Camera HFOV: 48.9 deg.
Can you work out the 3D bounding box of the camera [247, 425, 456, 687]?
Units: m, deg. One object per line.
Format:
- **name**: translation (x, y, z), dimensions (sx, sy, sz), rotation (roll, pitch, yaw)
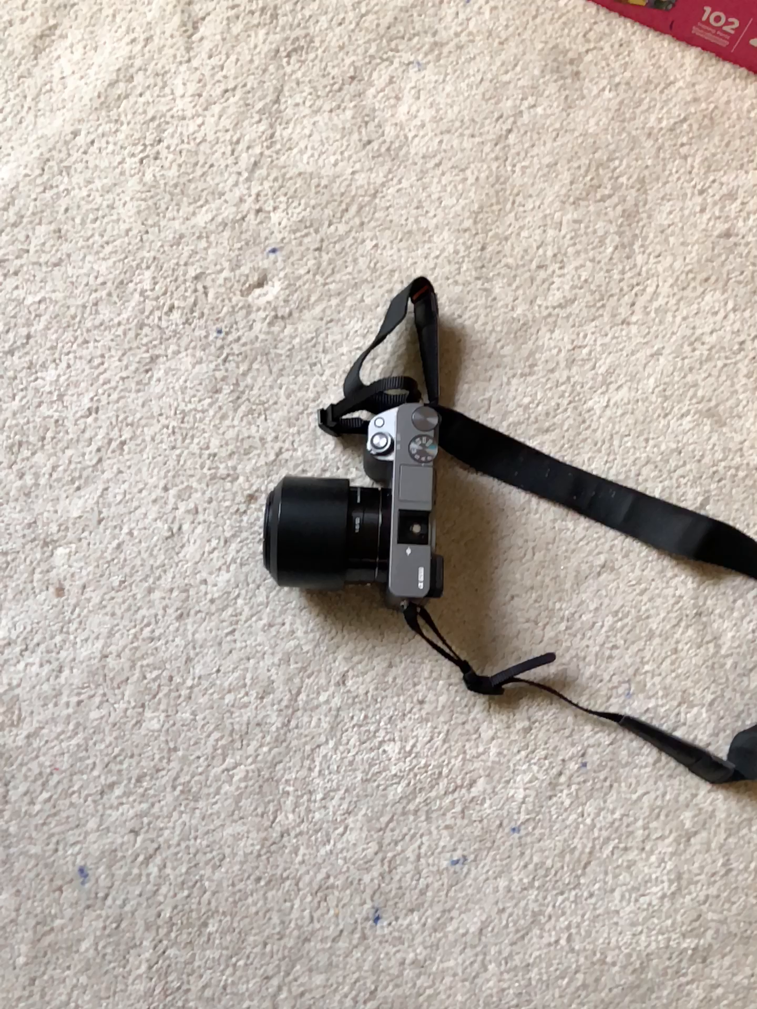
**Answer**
- **camera**: translation (-0.015, 0.033, 0.492), dimensions (0.110, 0.070, 0.140), rotation (2, 75, -3)
